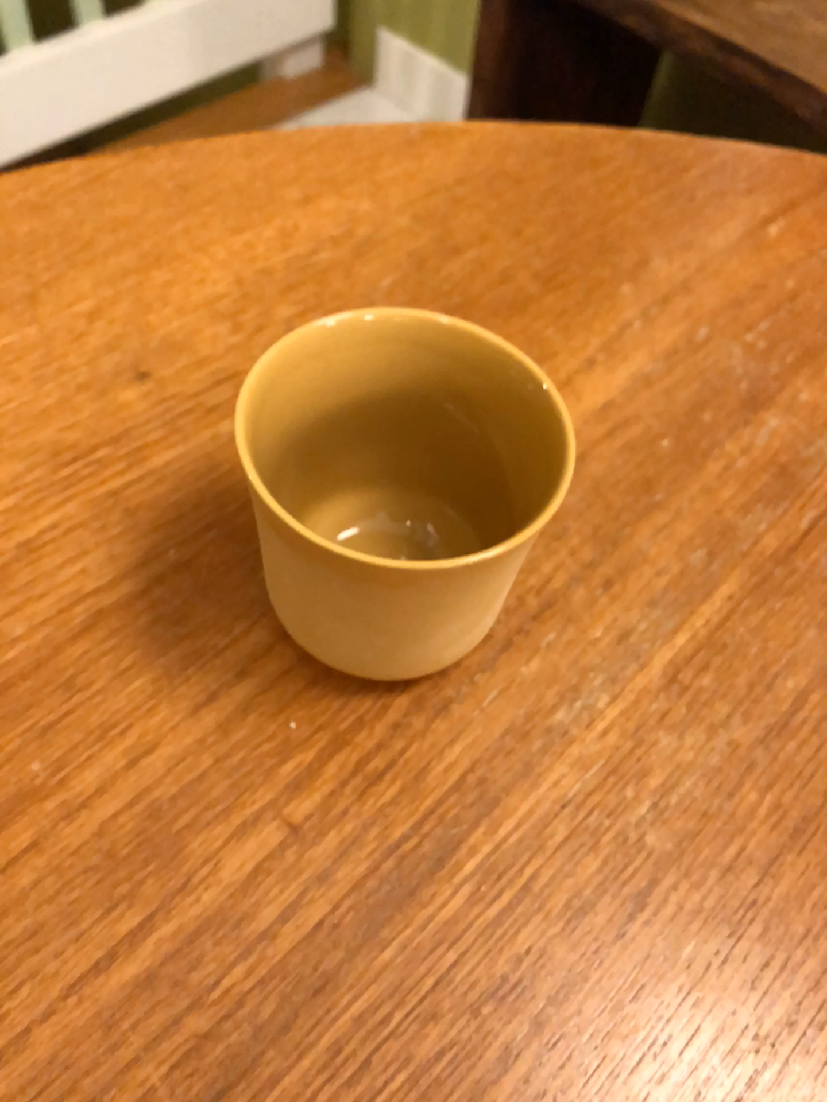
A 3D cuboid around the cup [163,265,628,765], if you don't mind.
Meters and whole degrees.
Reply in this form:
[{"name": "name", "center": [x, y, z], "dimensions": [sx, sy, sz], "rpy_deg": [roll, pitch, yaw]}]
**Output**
[{"name": "cup", "center": [-0.004, -0.008, 0.234], "dimensions": [0.077, 0.073, 0.074], "rpy_deg": [3, 55, -4]}]
